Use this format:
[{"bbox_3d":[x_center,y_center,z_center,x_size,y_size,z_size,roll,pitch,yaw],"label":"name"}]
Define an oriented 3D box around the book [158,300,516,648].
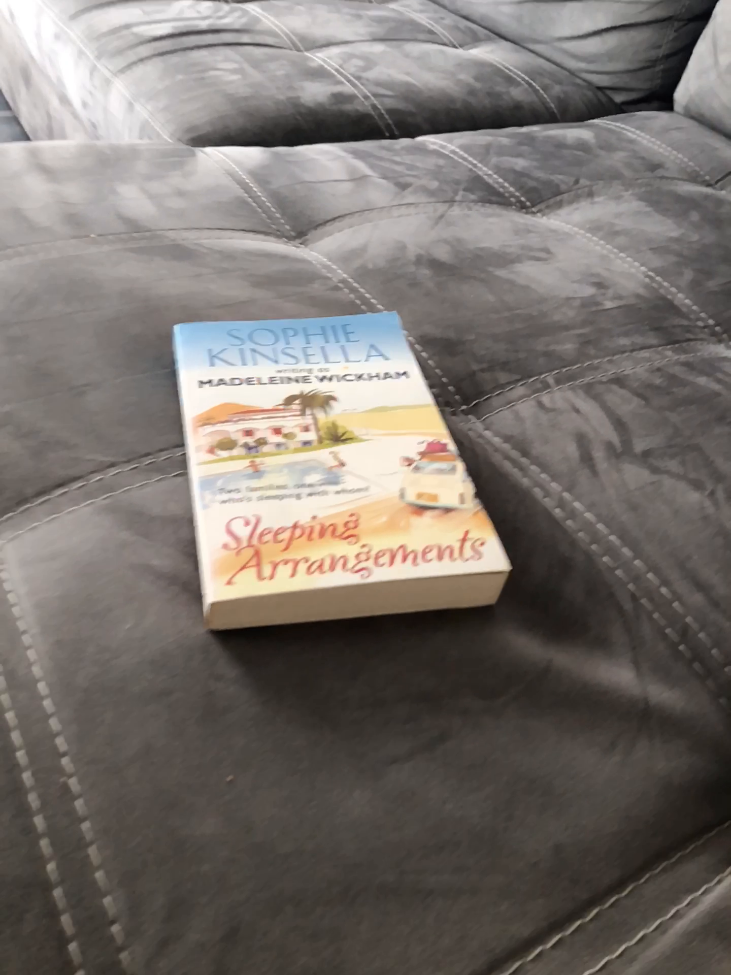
[{"bbox_3d":[-0.027,-0.023,0.384,0.130,0.030,0.201,-4,45,-15],"label":"book"}]
